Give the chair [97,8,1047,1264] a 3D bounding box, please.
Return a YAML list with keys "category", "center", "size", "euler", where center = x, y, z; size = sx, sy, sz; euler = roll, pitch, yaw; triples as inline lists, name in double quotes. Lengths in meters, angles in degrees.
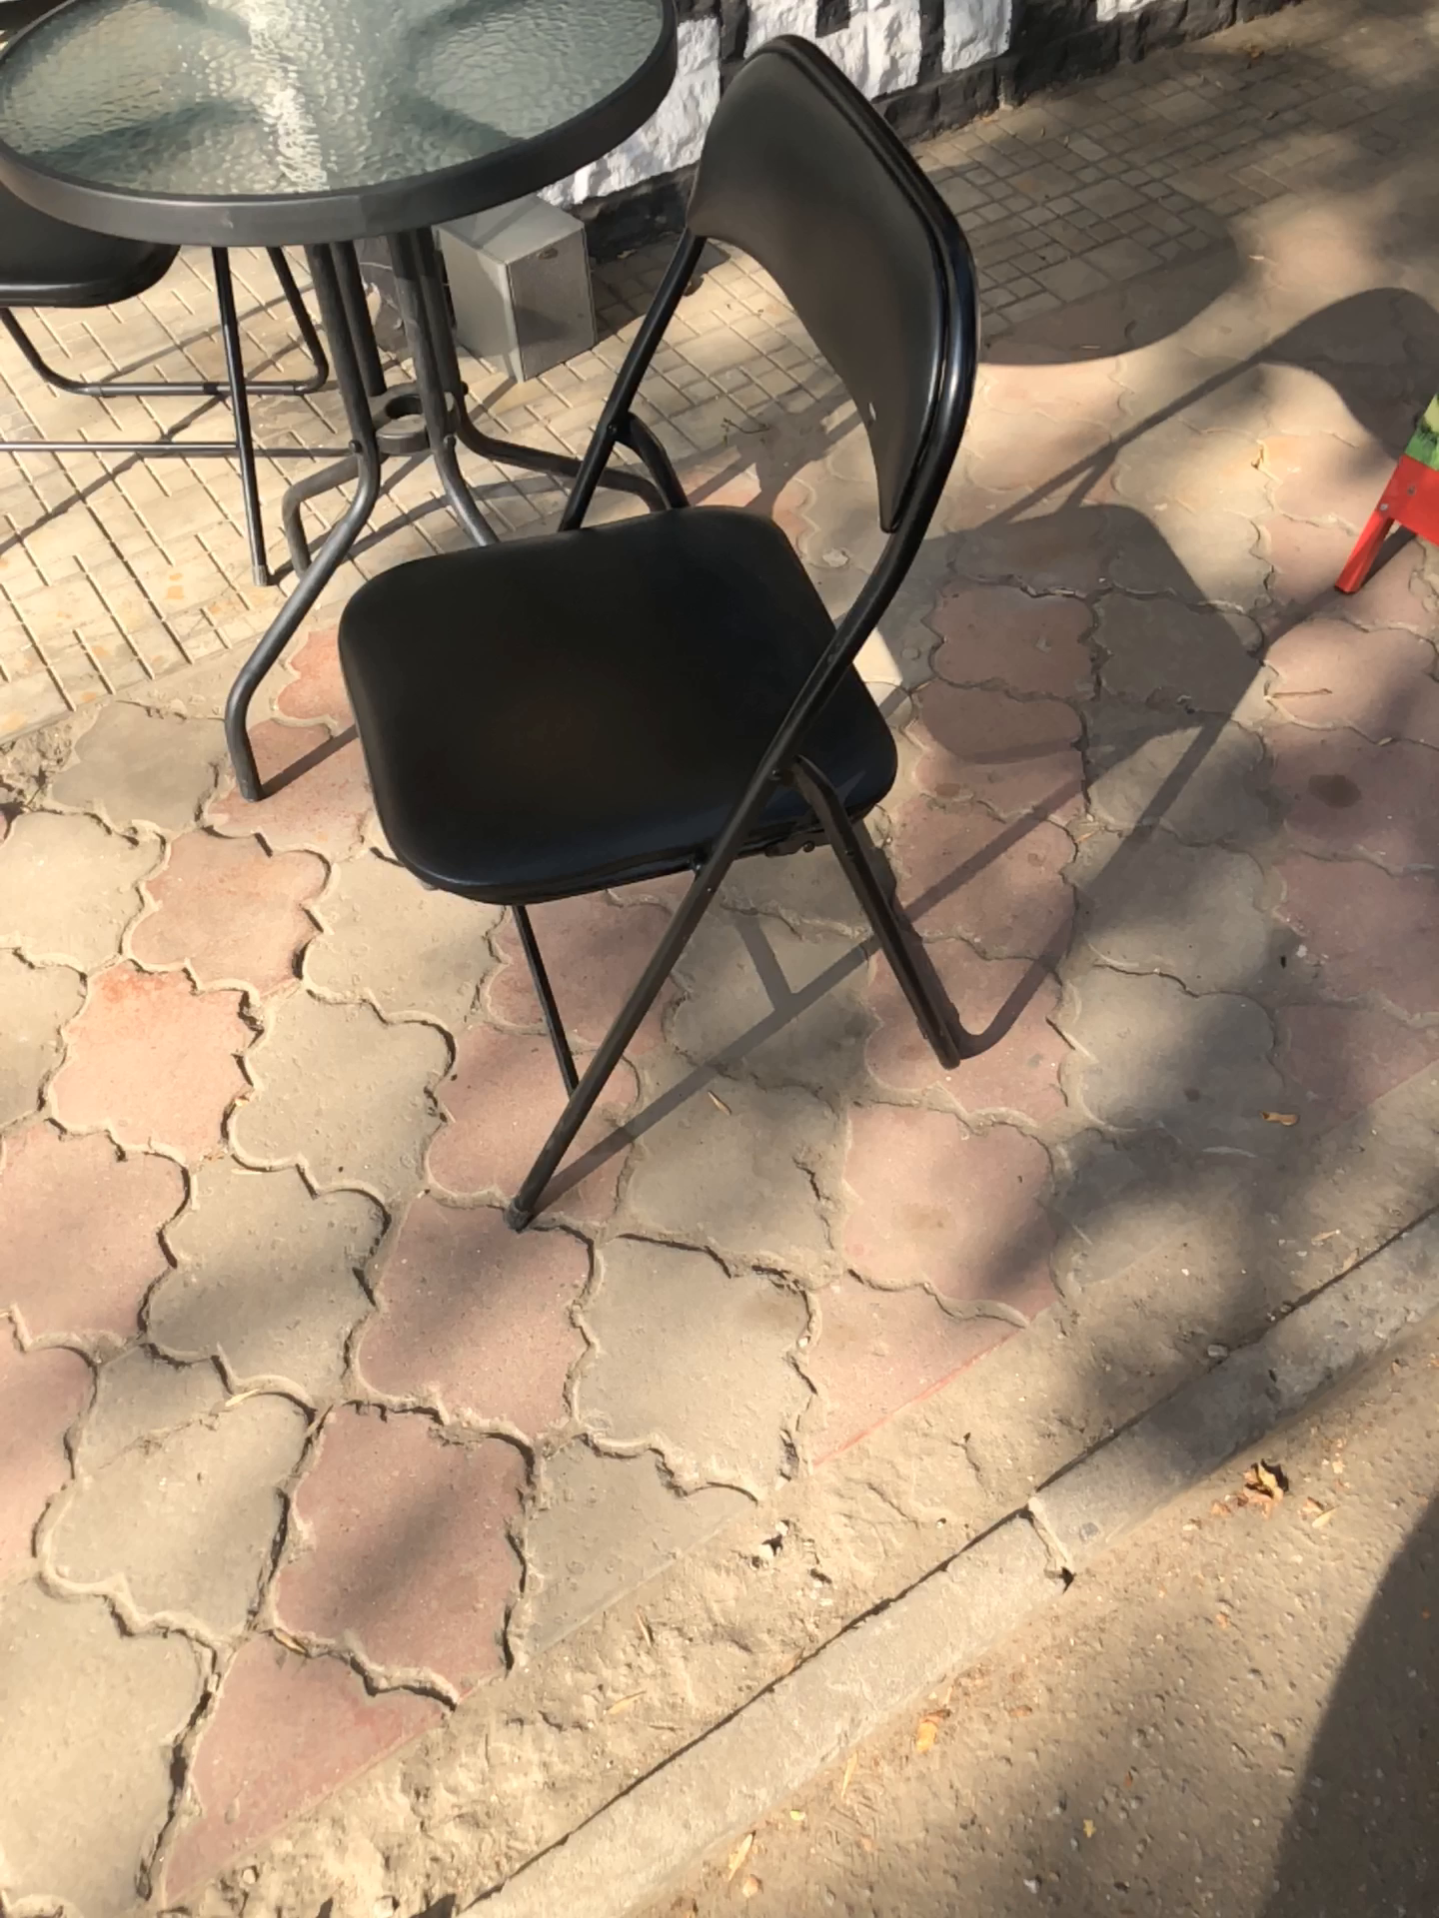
- category: "chair"
  center: [-0.121, -0.273, 1.433]
  size: [0.570, 0.837, 0.582]
  euler: [-16, 46, -9]
